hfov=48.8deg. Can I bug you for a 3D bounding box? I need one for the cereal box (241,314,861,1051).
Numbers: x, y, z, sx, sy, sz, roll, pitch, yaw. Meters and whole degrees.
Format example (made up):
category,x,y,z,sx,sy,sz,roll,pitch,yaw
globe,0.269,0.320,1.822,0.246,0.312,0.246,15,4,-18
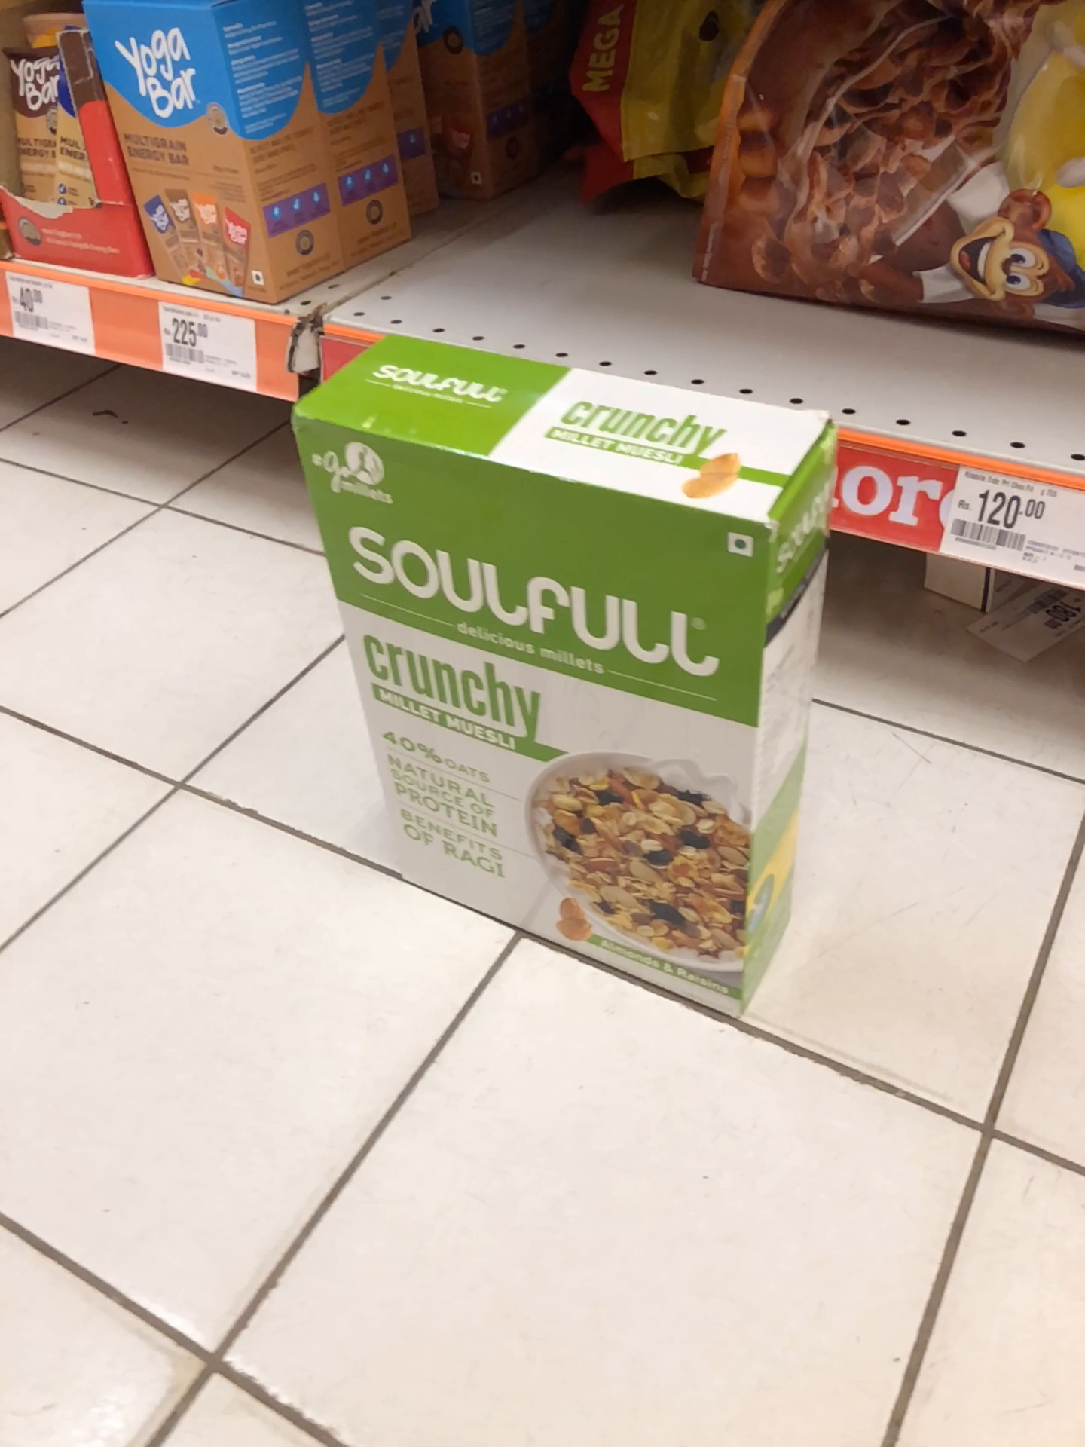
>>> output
category,x,y,z,sx,sy,sz,roll,pitch,yaw
cereal box,0.005,-0.008,0.437,0.180,0.239,0.060,18,45,24
